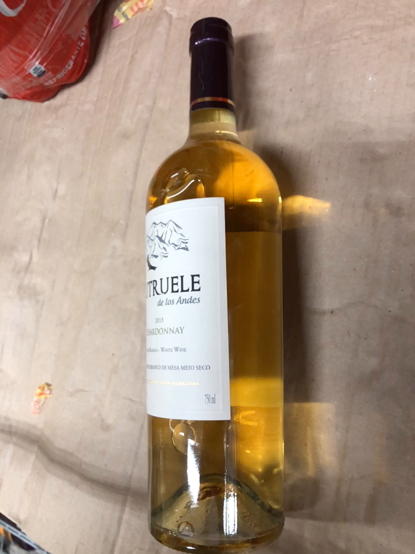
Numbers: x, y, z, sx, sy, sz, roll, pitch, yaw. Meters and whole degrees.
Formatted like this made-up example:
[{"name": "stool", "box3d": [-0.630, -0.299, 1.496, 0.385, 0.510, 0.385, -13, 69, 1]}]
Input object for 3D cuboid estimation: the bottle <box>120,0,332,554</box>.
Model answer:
[{"name": "bottle", "box3d": [0.008, -0.017, 0.260, 0.080, 0.070, 0.300, -12, 74, 48]}]
